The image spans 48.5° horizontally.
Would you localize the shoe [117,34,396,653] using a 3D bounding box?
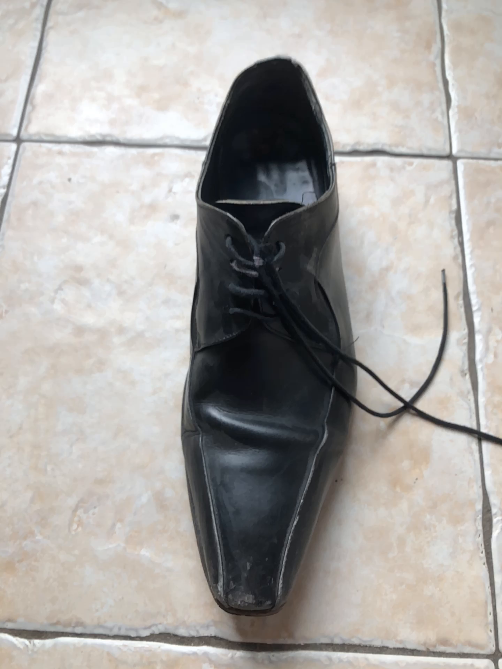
[{"bbox_3d":[0.015,-0.010,0.296,0.100,0.090,0.291,5,70,4],"label":"shoe"}]
